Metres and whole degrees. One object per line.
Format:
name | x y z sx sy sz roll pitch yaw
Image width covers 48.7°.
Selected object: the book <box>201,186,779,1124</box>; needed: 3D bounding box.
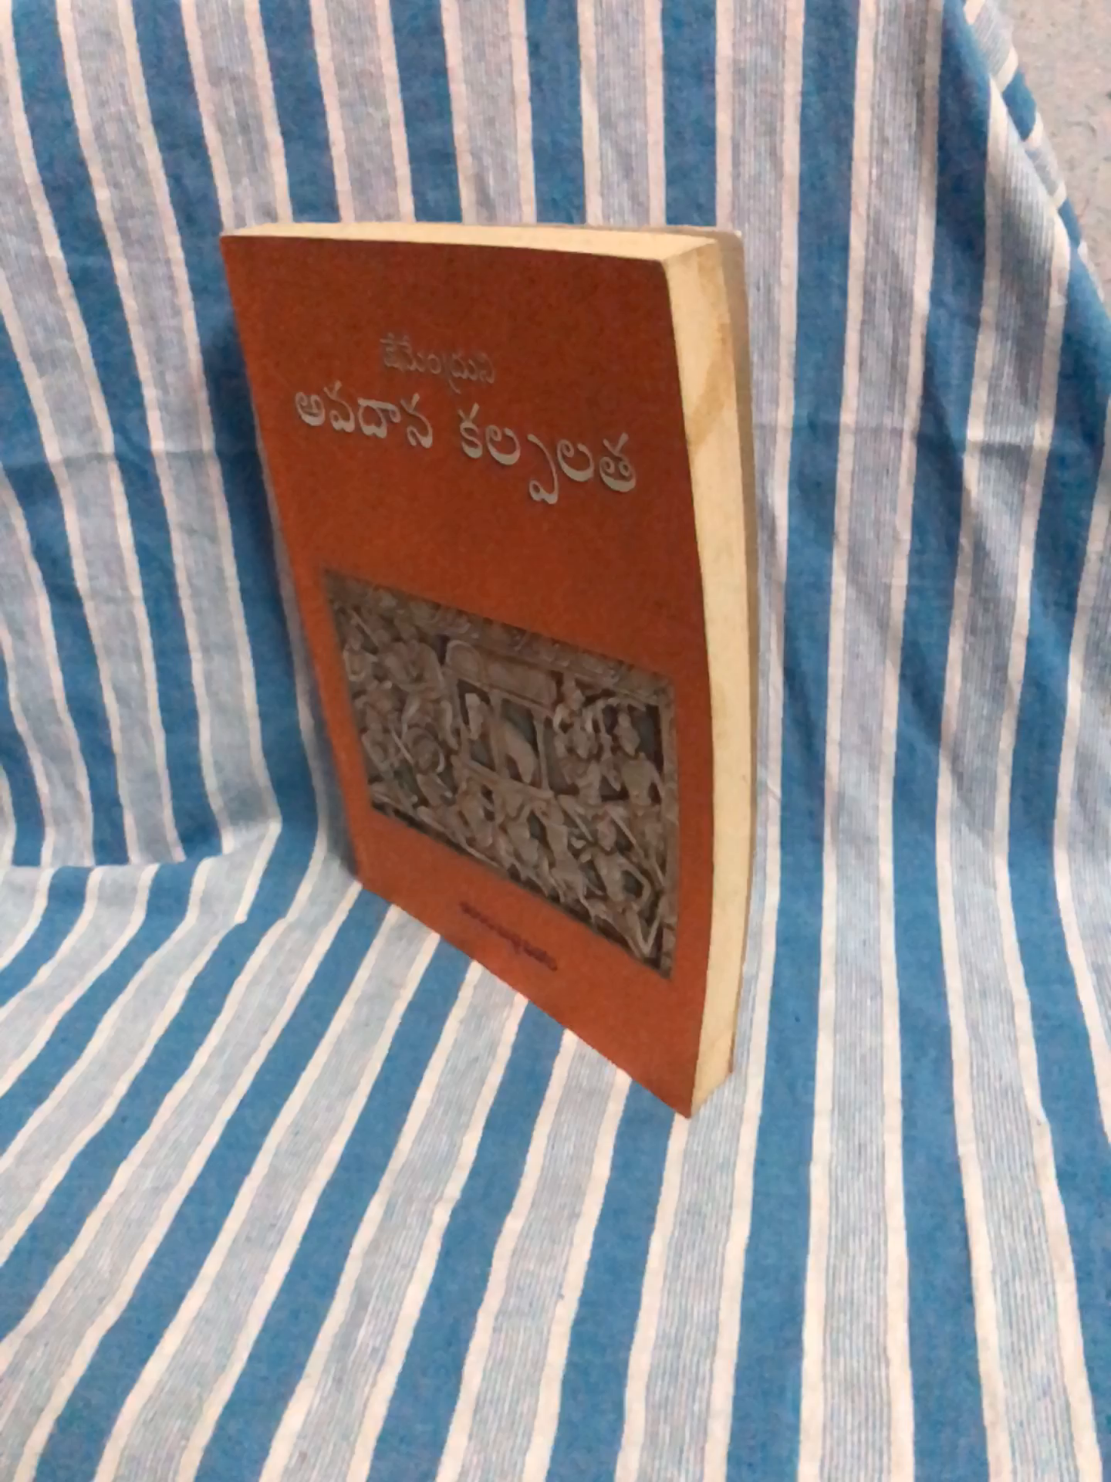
book | -0.019 -0.030 0.349 0.030 0.229 0.180 -27 36 -34
